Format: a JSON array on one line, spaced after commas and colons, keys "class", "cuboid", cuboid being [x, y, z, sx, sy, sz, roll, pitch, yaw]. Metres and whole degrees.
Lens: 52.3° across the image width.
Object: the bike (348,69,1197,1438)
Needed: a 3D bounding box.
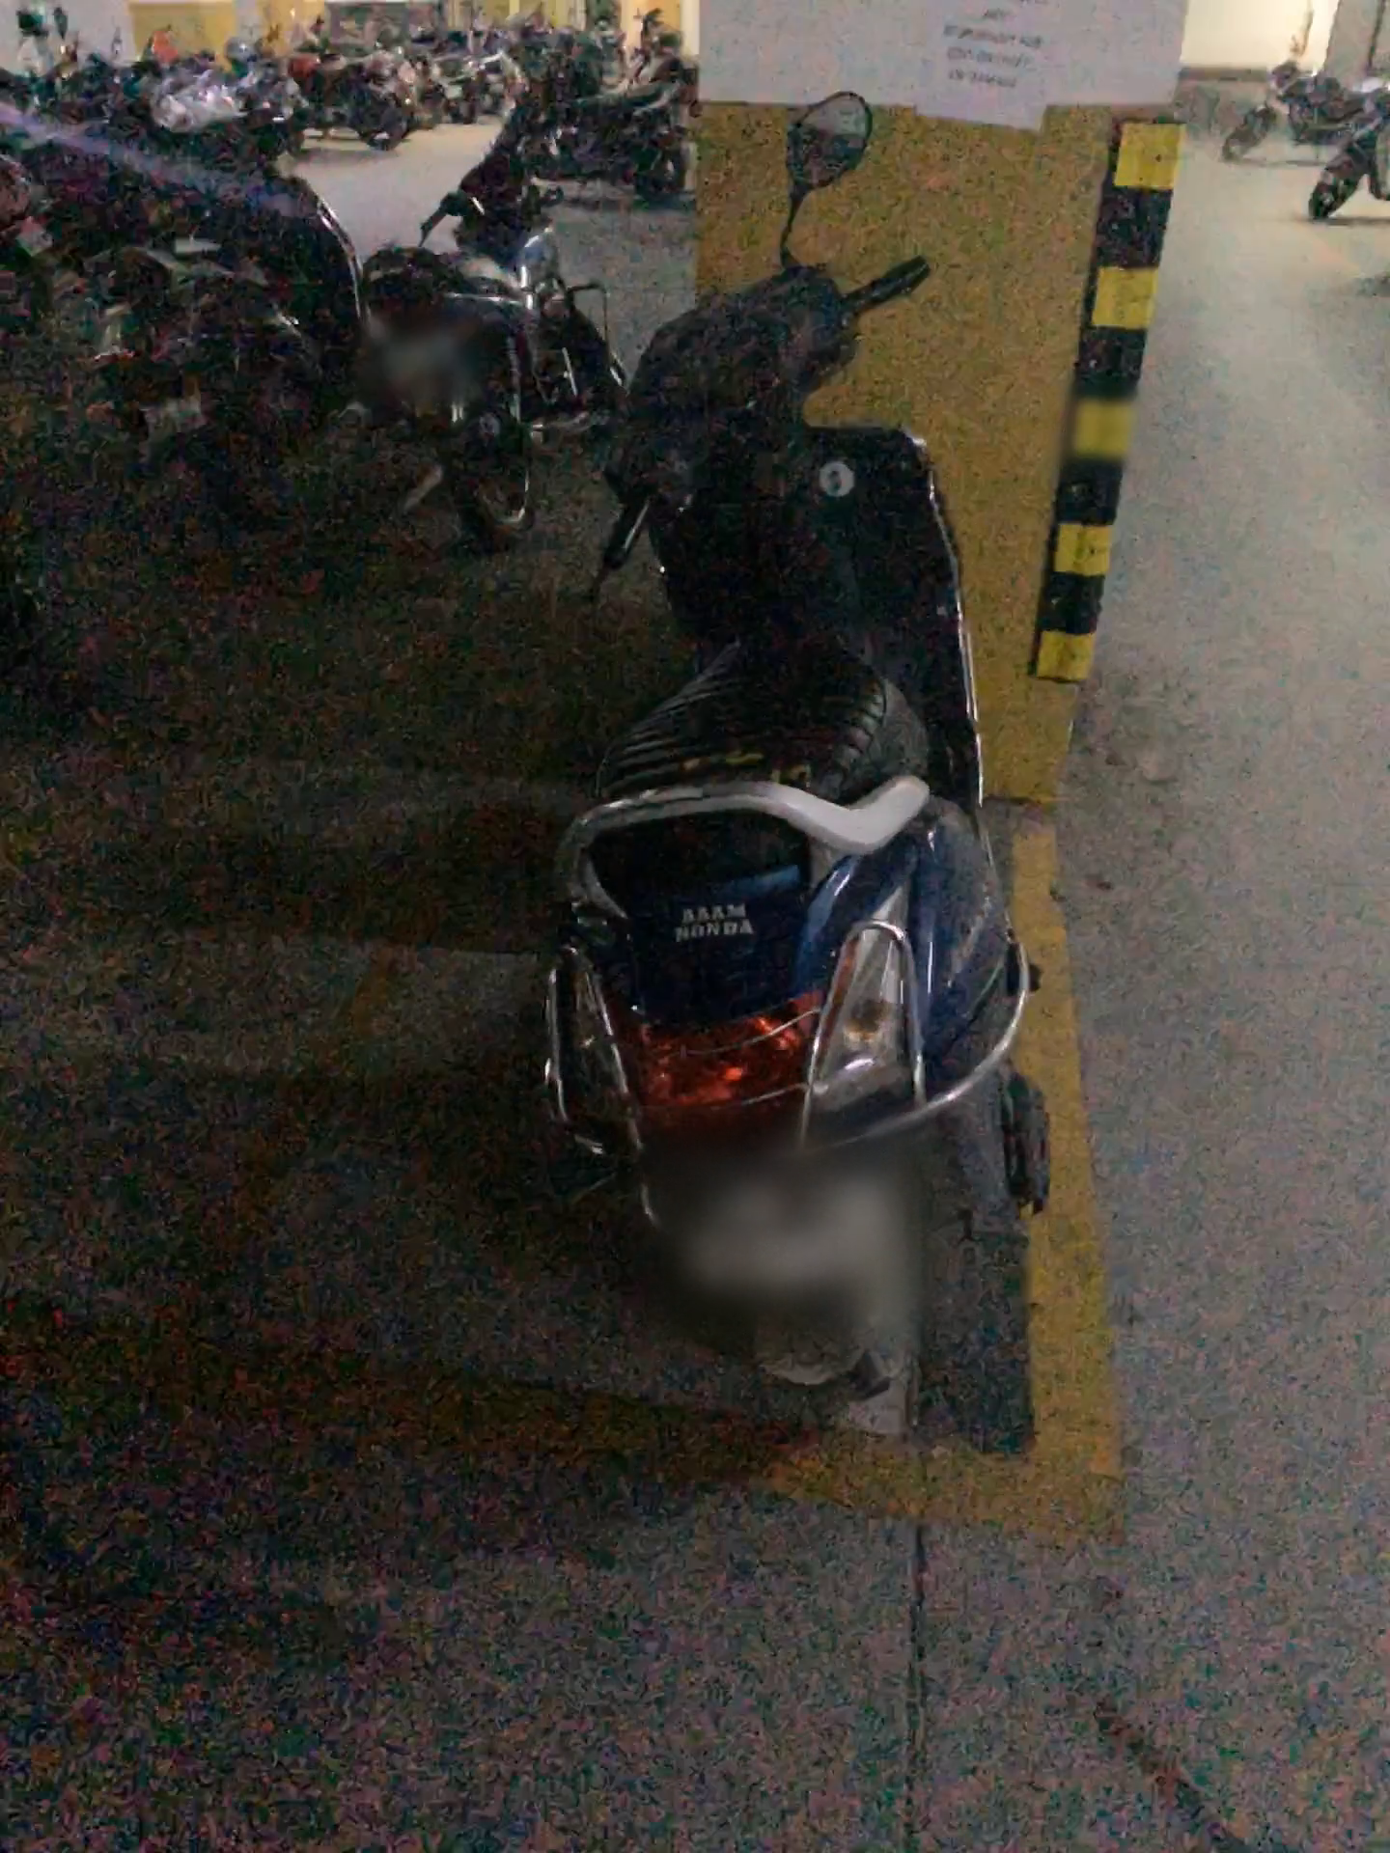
[{"class": "bike", "cuboid": [0.030, -0.308, 1.806, 0.630, 1.063, 1.275, 0, 39, -2]}]
